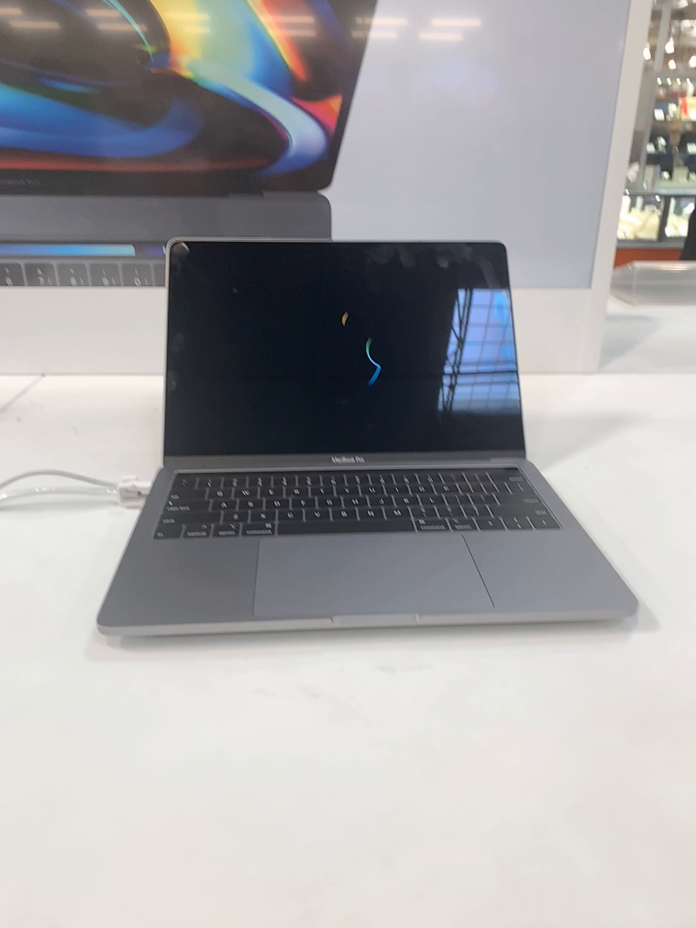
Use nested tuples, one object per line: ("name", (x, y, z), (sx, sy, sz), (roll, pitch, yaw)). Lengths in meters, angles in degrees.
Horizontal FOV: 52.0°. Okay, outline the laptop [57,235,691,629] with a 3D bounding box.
("laptop", (0.005, -0.055, 0.489), (0.284, 0.150, 0.316), (-1, 25, -4))
